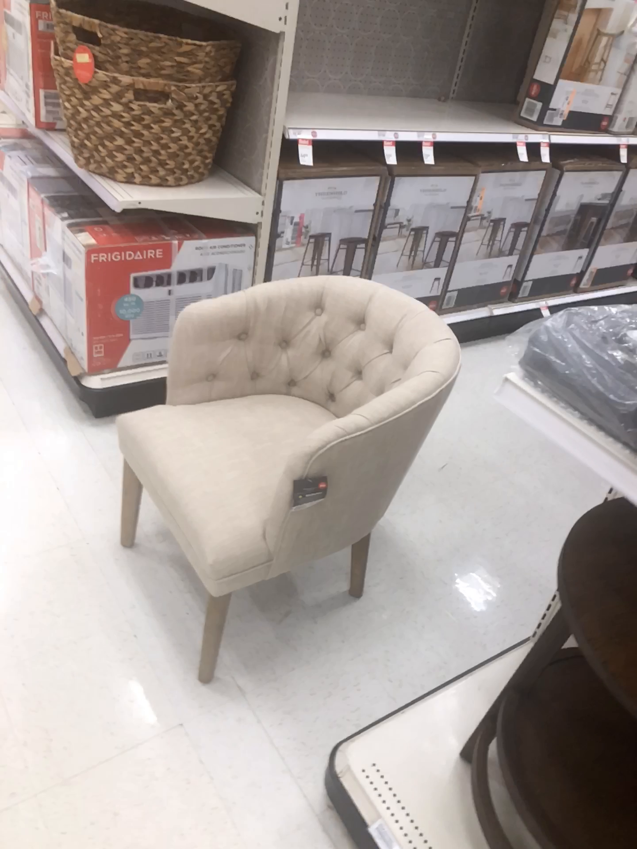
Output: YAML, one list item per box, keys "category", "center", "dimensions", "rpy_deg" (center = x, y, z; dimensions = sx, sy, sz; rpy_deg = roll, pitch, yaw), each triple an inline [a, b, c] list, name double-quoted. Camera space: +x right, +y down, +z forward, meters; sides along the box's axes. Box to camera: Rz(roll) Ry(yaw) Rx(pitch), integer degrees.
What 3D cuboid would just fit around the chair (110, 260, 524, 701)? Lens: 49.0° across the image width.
- category: "chair"
  center: [-0.060, 0.081, 1.658]
  dimensions: [0.683, 0.700, 0.562]
  rpy_deg: [-14, 42, -33]
